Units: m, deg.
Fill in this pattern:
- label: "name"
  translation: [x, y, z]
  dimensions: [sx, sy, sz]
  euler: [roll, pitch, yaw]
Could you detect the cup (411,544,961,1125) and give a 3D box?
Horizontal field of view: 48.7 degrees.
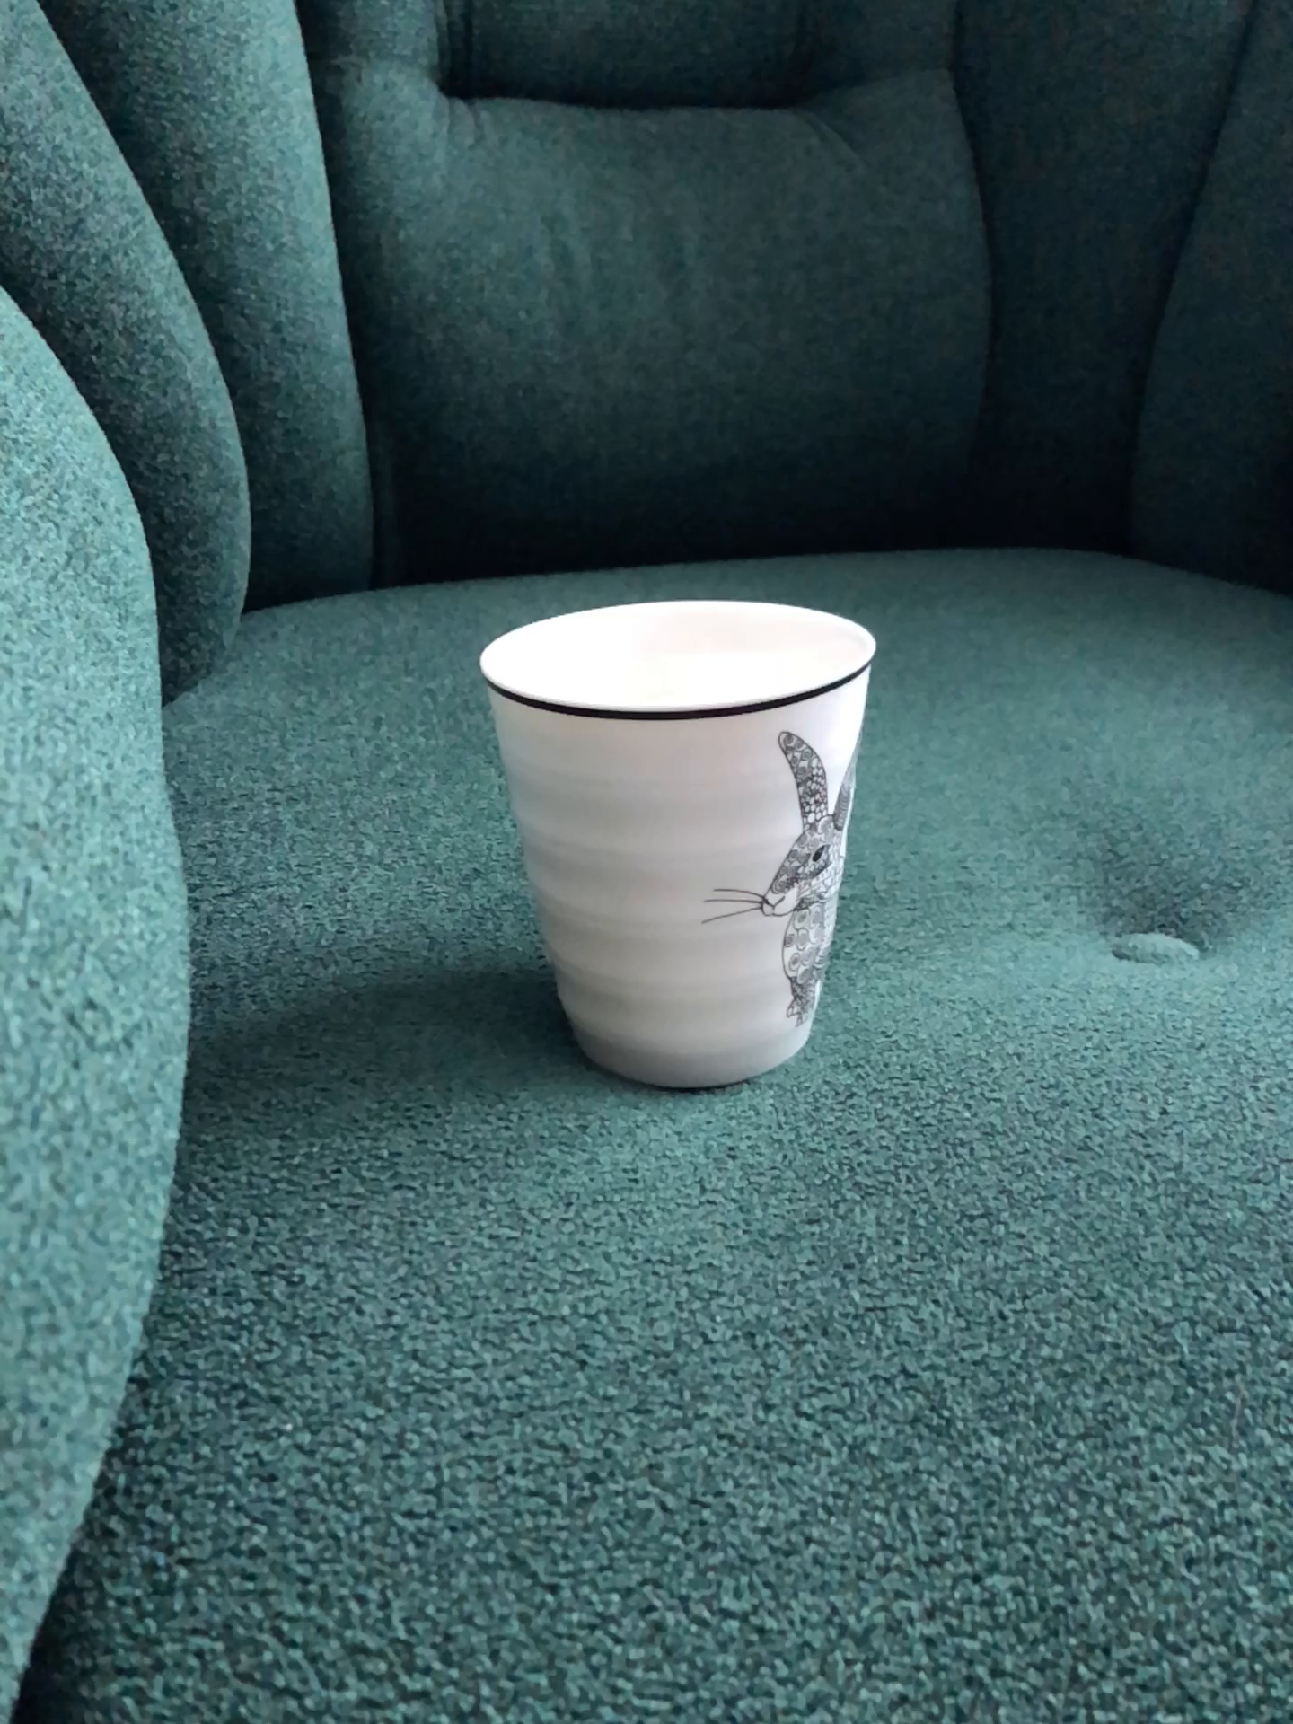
- label: "cup"
  translation: [0.017, -0.017, 0.357]
  dimensions: [0.095, 0.095, 0.121]
  euler: [9, 26, 20]
